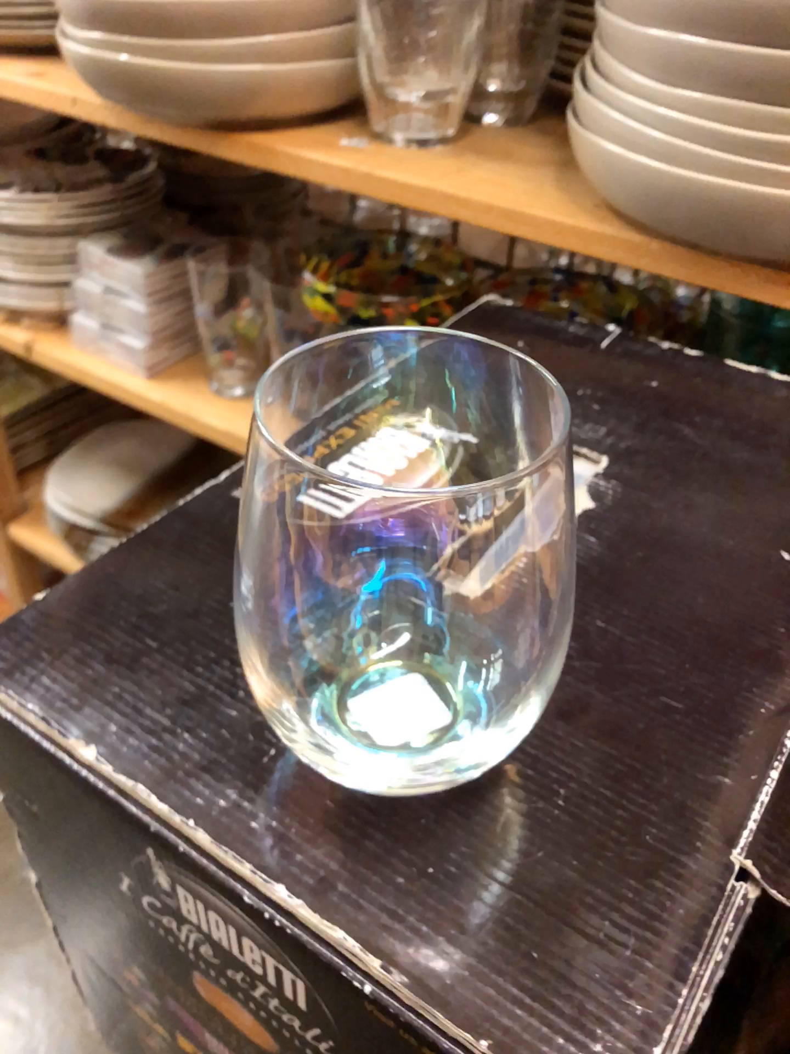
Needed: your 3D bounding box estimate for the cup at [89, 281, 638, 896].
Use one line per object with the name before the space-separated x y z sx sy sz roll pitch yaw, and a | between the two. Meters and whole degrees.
cup | -0.006 0.011 0.239 0.093 0.107 0.089 2 39 -2
